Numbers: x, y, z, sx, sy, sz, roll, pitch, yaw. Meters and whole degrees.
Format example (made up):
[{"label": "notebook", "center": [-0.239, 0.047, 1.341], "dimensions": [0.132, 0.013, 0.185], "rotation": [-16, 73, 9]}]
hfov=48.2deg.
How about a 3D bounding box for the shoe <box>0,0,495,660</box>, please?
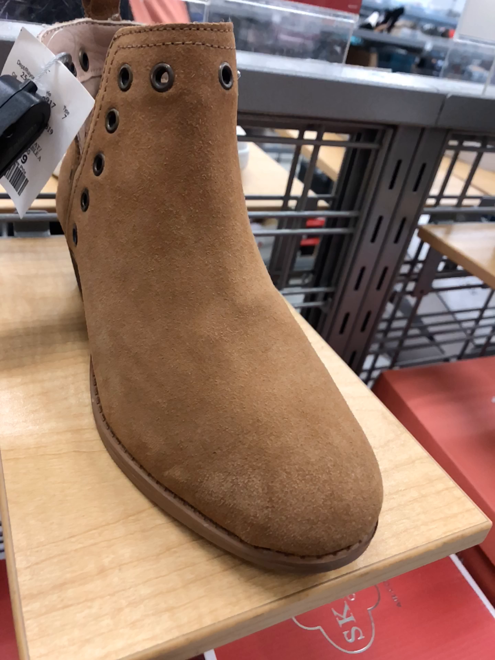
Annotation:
[{"label": "shoe", "center": [-0.036, -0.050, 0.231], "dimensions": [0.092, 0.129, 0.282], "rotation": [-9, 39, -30]}]
